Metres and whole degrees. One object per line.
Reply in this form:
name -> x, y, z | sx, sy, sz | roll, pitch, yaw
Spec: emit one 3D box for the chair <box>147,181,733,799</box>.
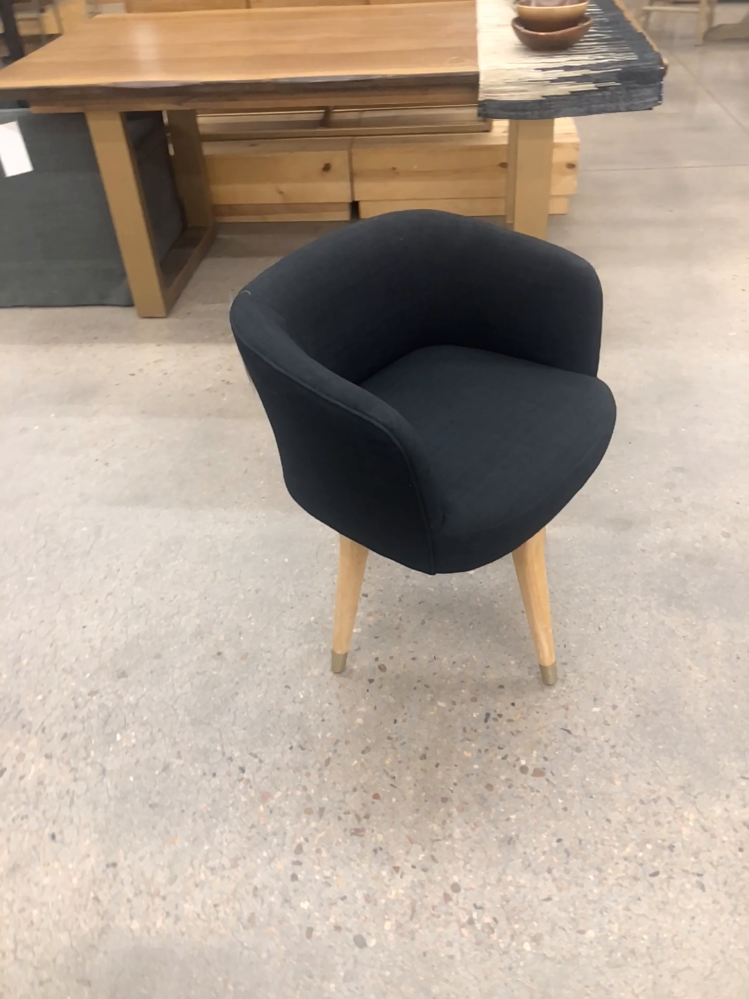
chair -> 0.112, -0.062, 1.402 | 0.604, 0.670, 0.603 | 29, 50, 34
